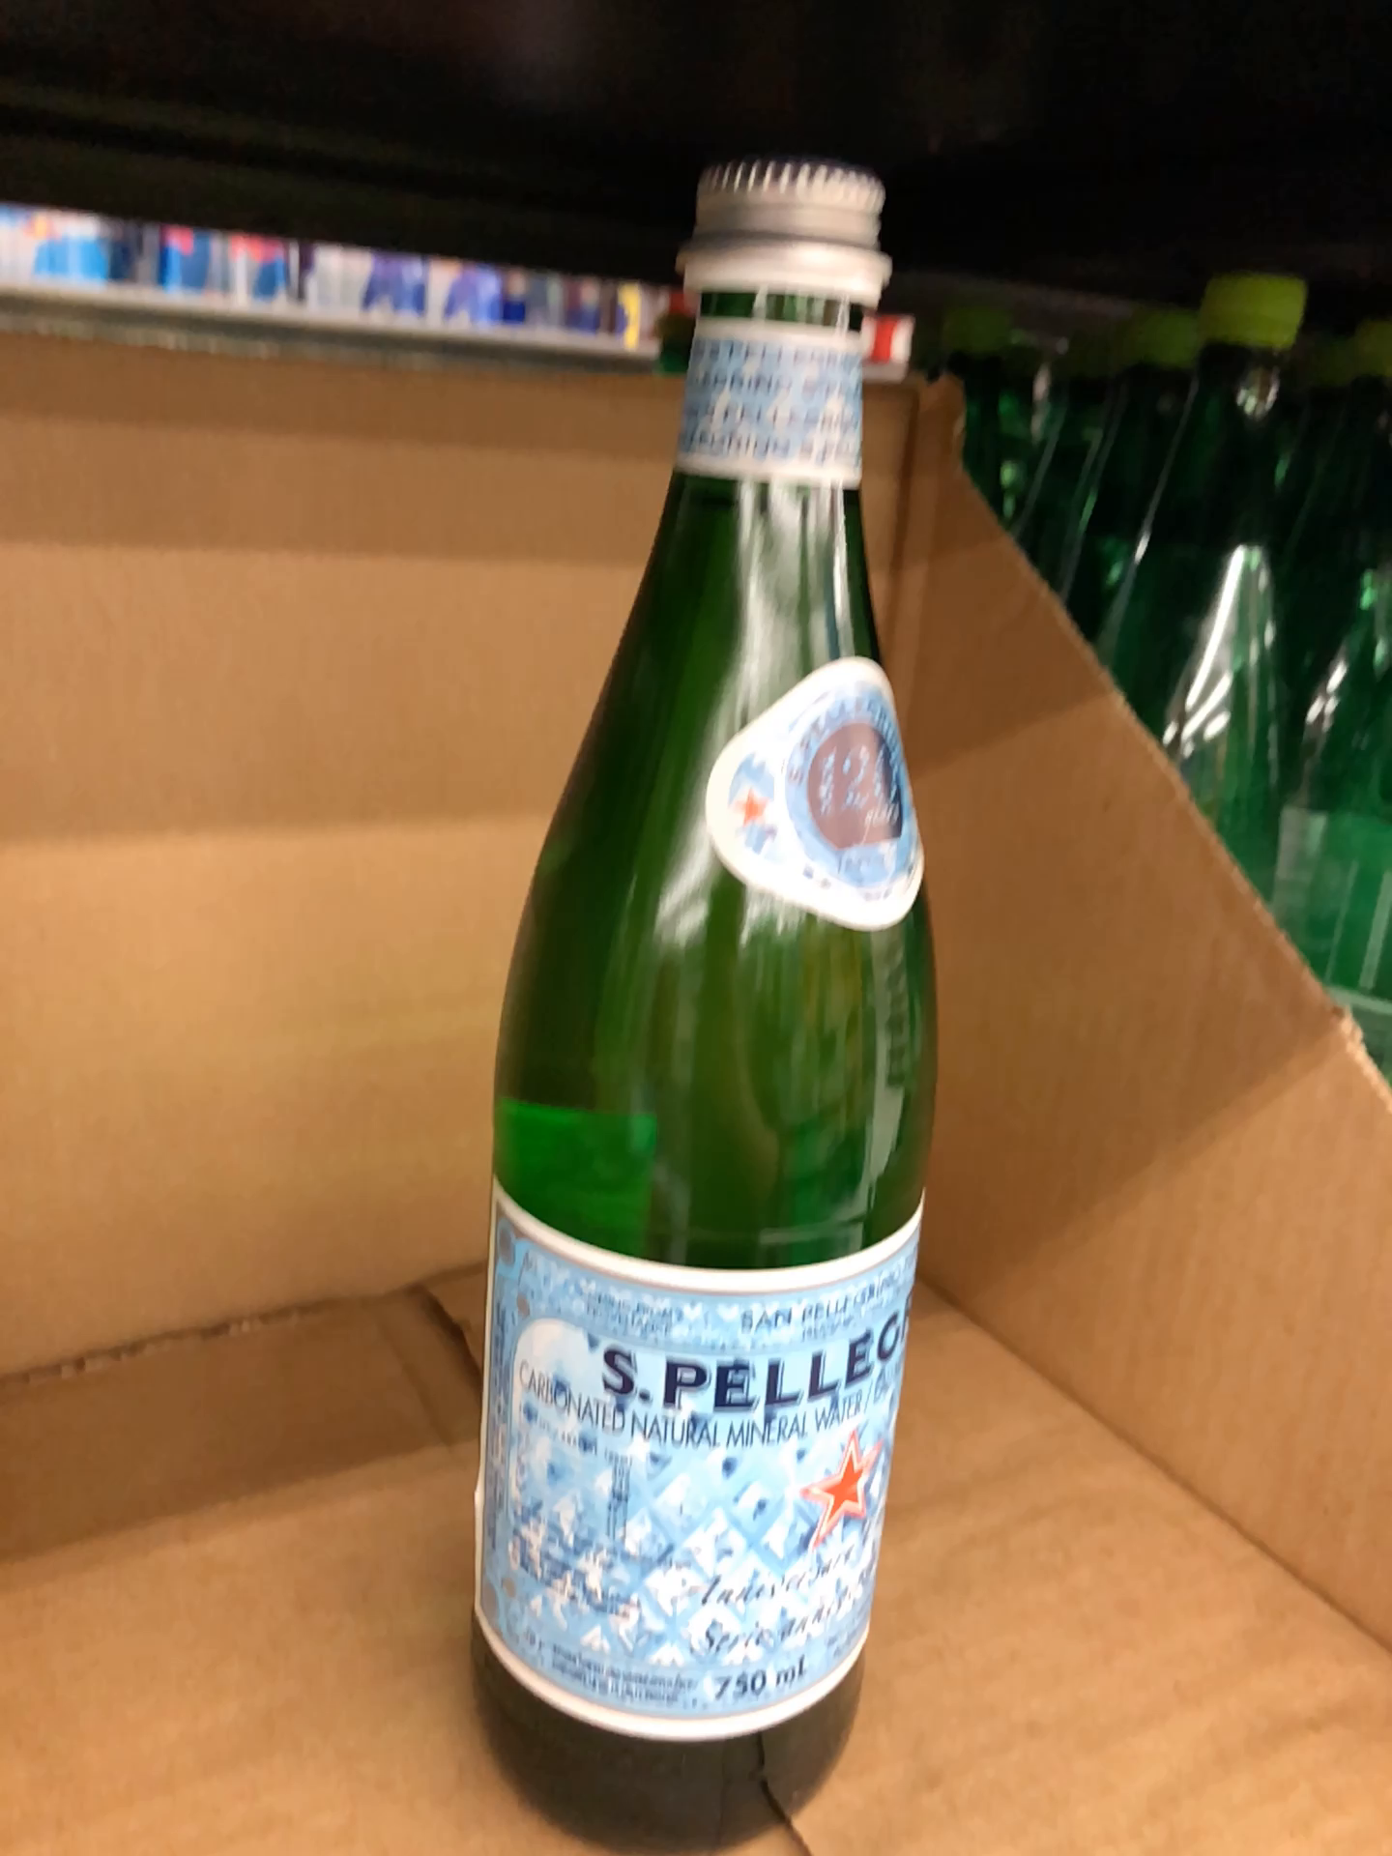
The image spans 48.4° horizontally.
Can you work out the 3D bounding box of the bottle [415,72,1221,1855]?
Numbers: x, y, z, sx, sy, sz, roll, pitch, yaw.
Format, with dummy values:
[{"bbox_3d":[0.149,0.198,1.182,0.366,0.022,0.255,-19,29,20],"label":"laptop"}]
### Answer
[{"bbox_3d":[0.008,0.024,0.259,0.080,0.278,0.070,-6,21,-31],"label":"bottle"}]
